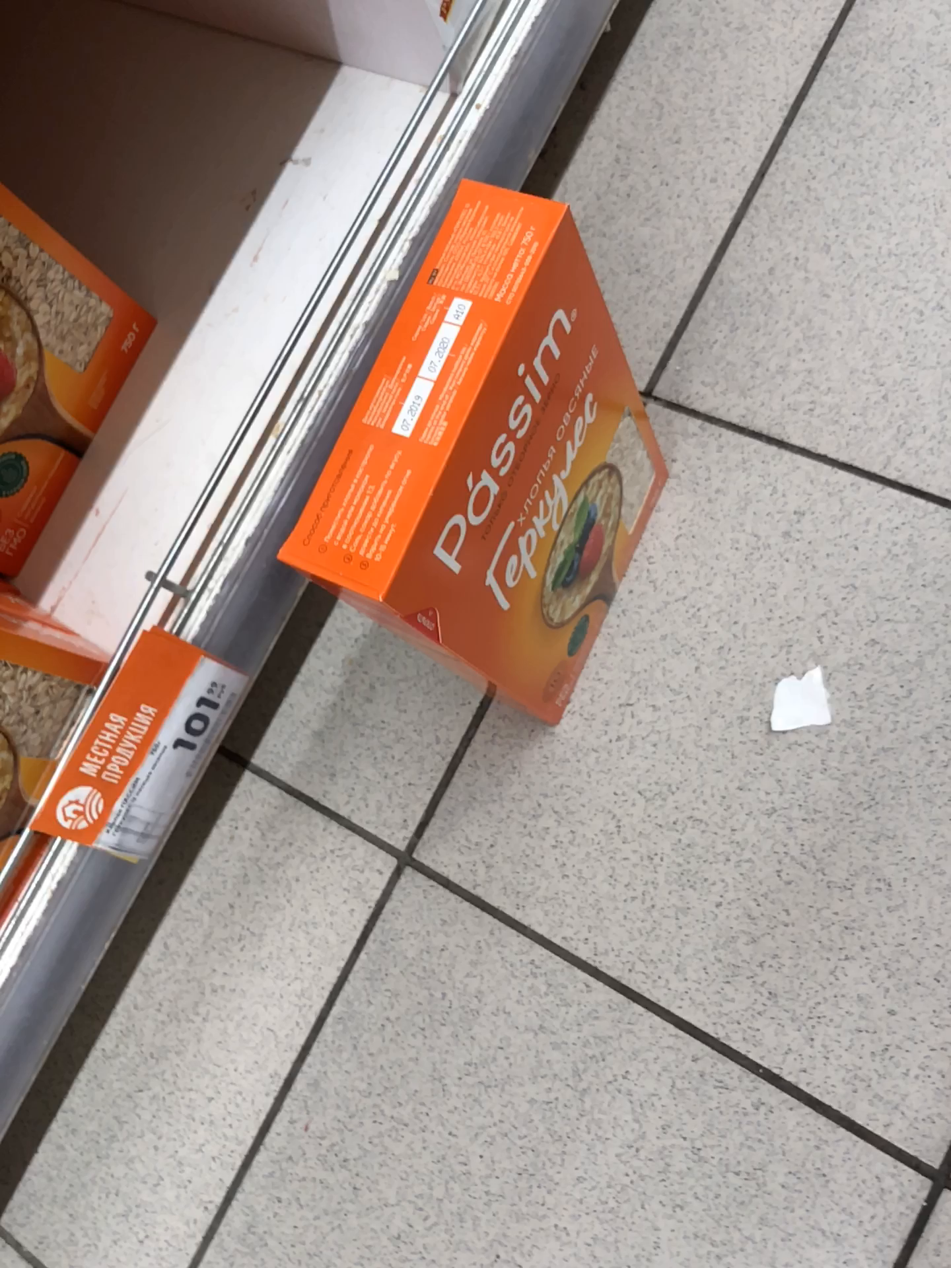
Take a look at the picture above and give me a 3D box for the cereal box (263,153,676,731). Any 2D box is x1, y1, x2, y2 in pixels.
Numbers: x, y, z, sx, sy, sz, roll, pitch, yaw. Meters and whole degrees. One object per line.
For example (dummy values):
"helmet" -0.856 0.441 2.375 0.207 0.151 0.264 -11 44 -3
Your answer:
"cereal box" 0.020 -0.062 0.488 0.050 0.250 0.170 22 84 22
